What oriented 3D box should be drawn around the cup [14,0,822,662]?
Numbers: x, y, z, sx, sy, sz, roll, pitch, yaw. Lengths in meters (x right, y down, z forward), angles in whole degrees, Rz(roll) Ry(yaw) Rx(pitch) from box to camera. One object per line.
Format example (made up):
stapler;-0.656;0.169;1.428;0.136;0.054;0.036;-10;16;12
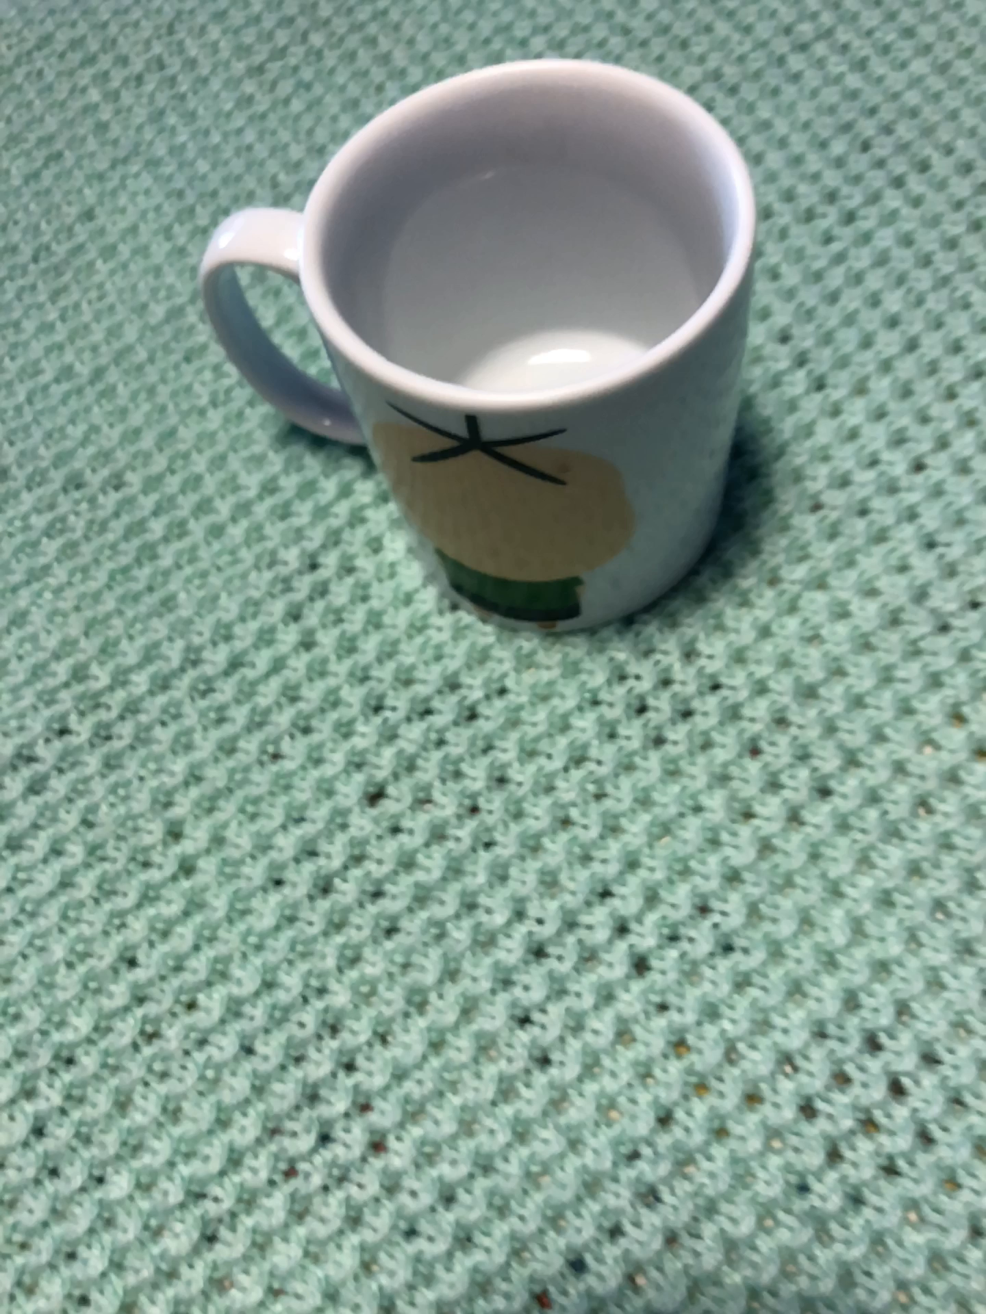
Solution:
cup;-0.008;-0.075;0.254;0.130;0.100;0.090;15;68;14
